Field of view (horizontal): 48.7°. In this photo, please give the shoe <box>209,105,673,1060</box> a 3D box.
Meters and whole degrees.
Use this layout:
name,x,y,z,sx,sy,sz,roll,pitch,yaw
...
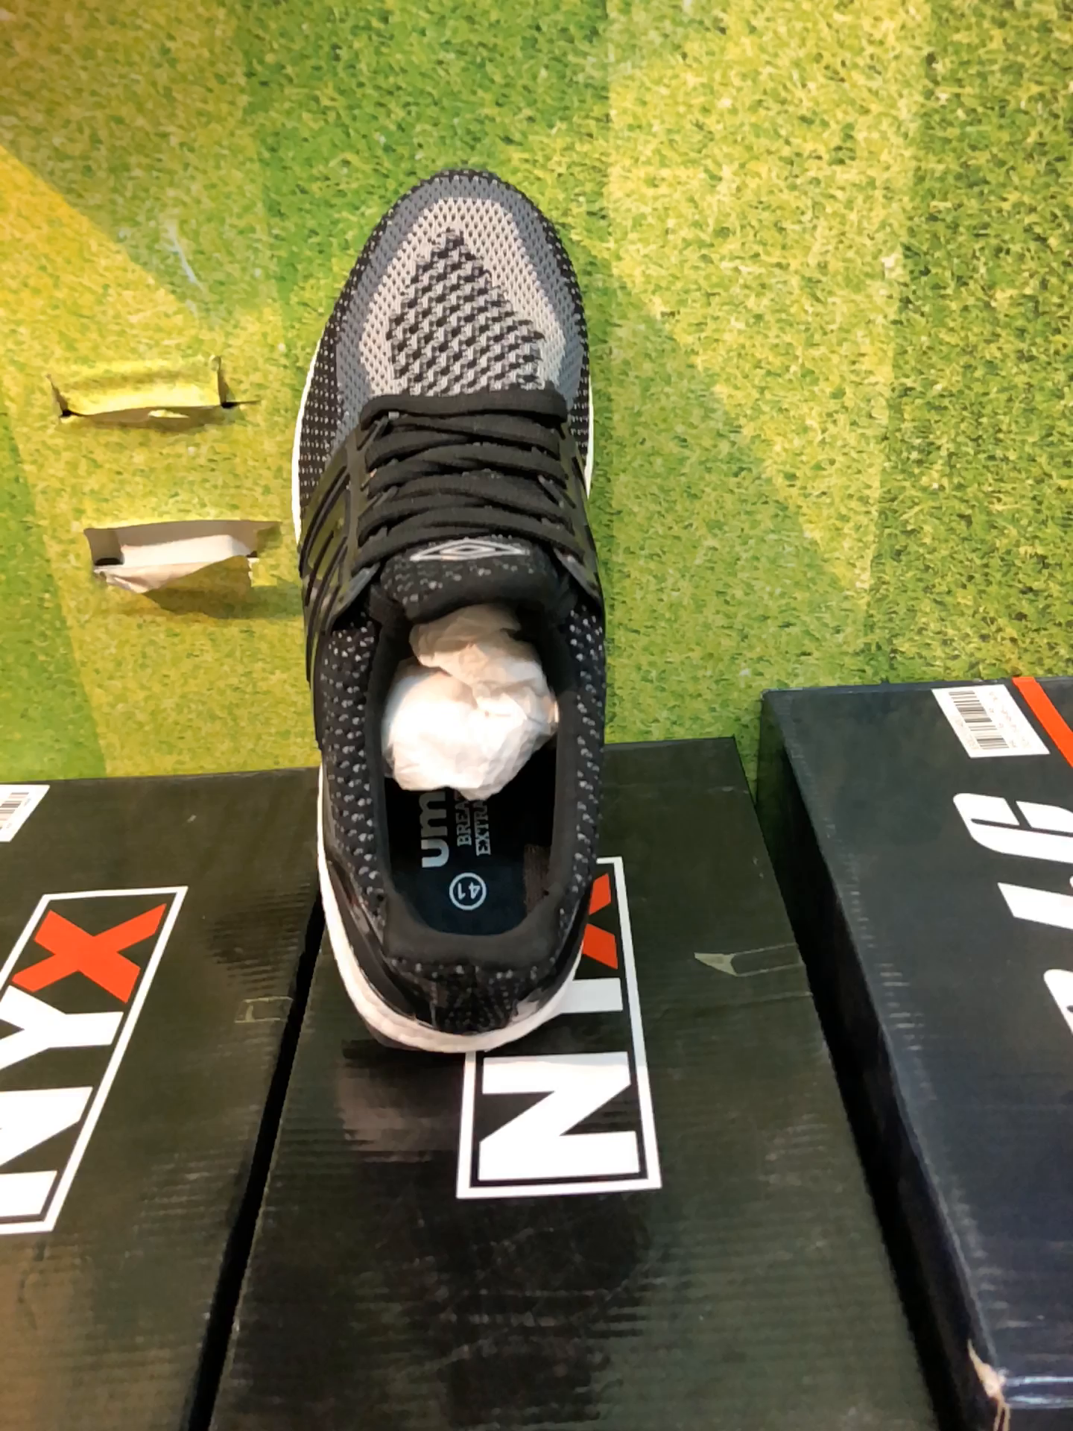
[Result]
name,x,y,z,sx,sy,sz,roll,pitch,yaw
shoe,-0.039,-0.035,0.380,0.111,0.121,0.270,1,71,-12
